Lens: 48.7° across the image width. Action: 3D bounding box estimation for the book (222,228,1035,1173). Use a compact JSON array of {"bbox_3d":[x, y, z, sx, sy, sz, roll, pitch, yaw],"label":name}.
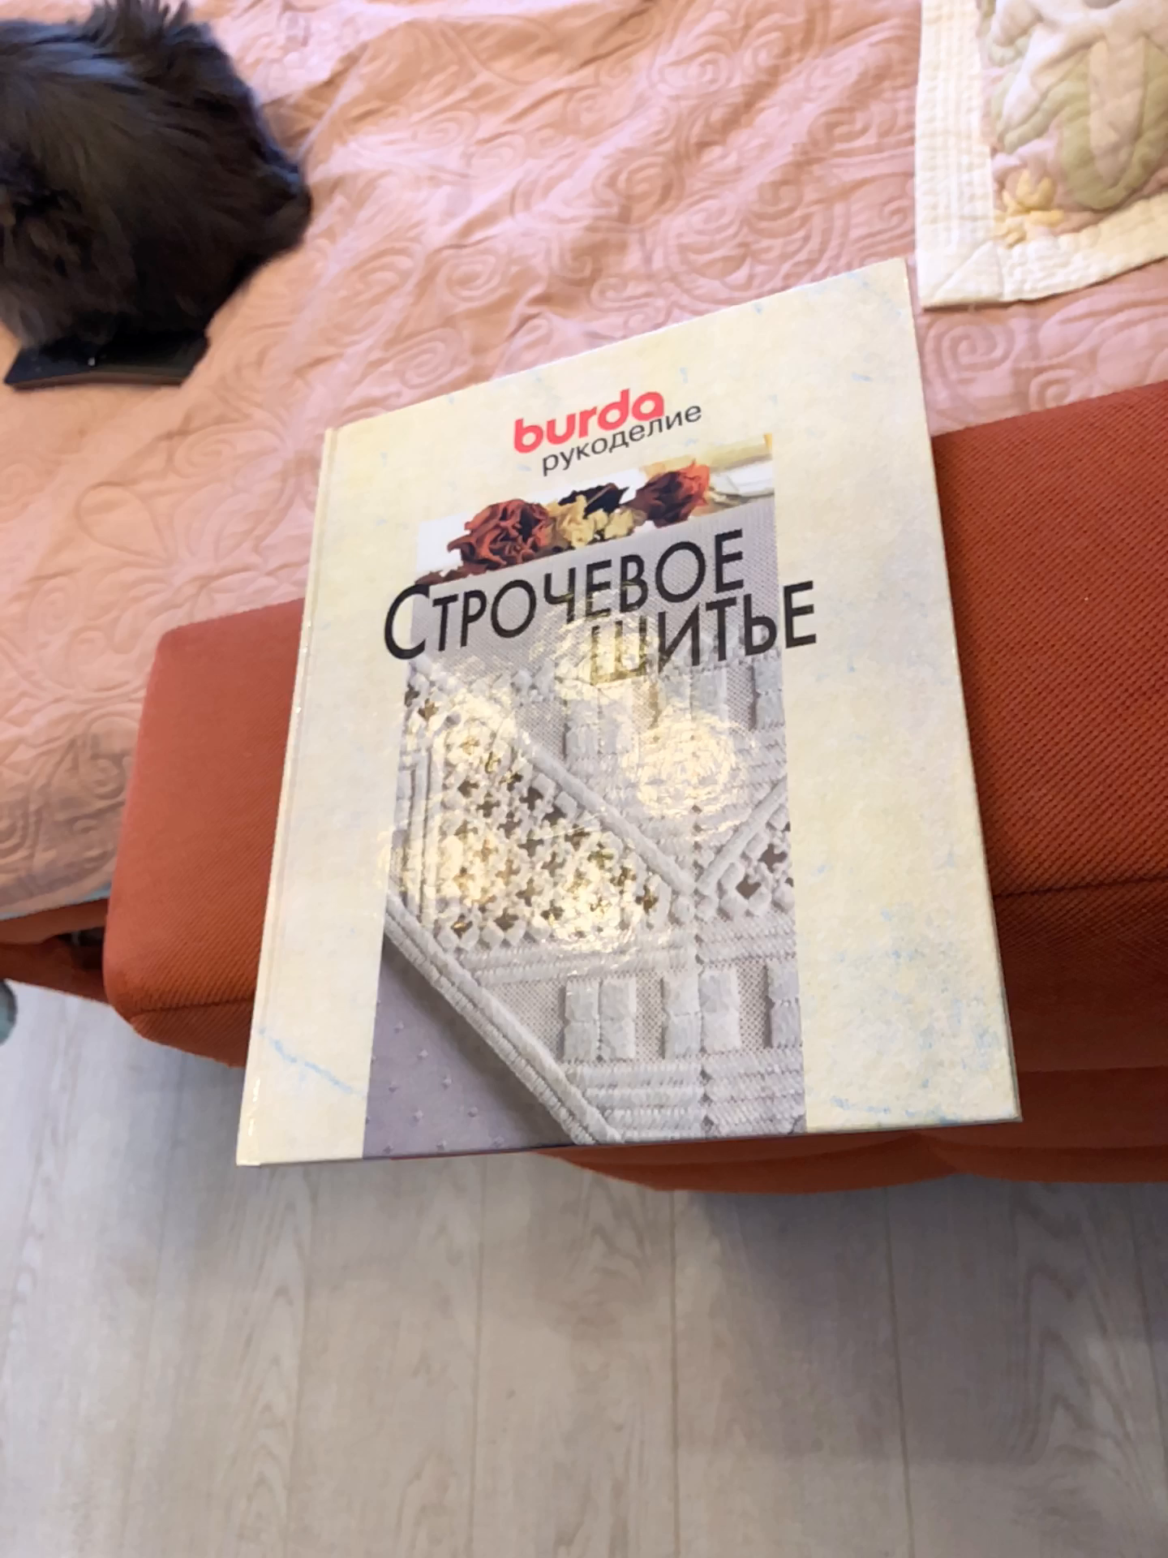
[{"bbox_3d":[0.002,-0.024,0.379,0.215,0.020,0.259,-10,64,22],"label":"book"}]
